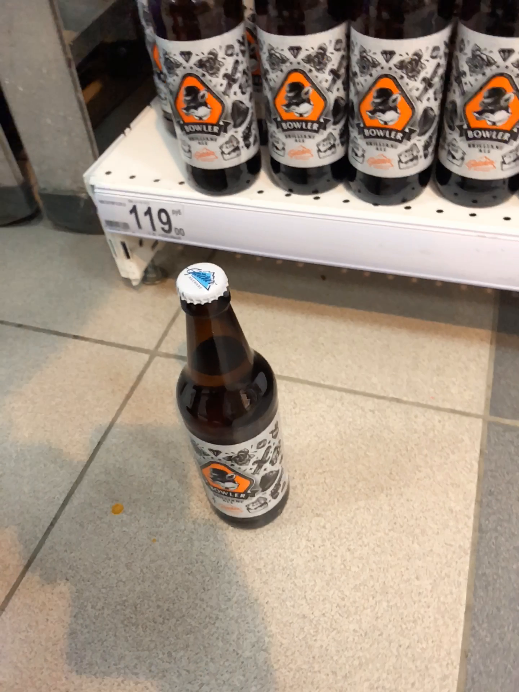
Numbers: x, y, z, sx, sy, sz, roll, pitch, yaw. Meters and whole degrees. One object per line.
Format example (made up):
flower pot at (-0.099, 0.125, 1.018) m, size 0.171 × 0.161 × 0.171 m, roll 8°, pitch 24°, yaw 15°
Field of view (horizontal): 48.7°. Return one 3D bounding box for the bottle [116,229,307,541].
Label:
bottle at (-0.017, 0.042, 0.396) m, size 0.074 × 0.239 × 0.070 m, roll -4°, pitch 47°, yaw 4°
